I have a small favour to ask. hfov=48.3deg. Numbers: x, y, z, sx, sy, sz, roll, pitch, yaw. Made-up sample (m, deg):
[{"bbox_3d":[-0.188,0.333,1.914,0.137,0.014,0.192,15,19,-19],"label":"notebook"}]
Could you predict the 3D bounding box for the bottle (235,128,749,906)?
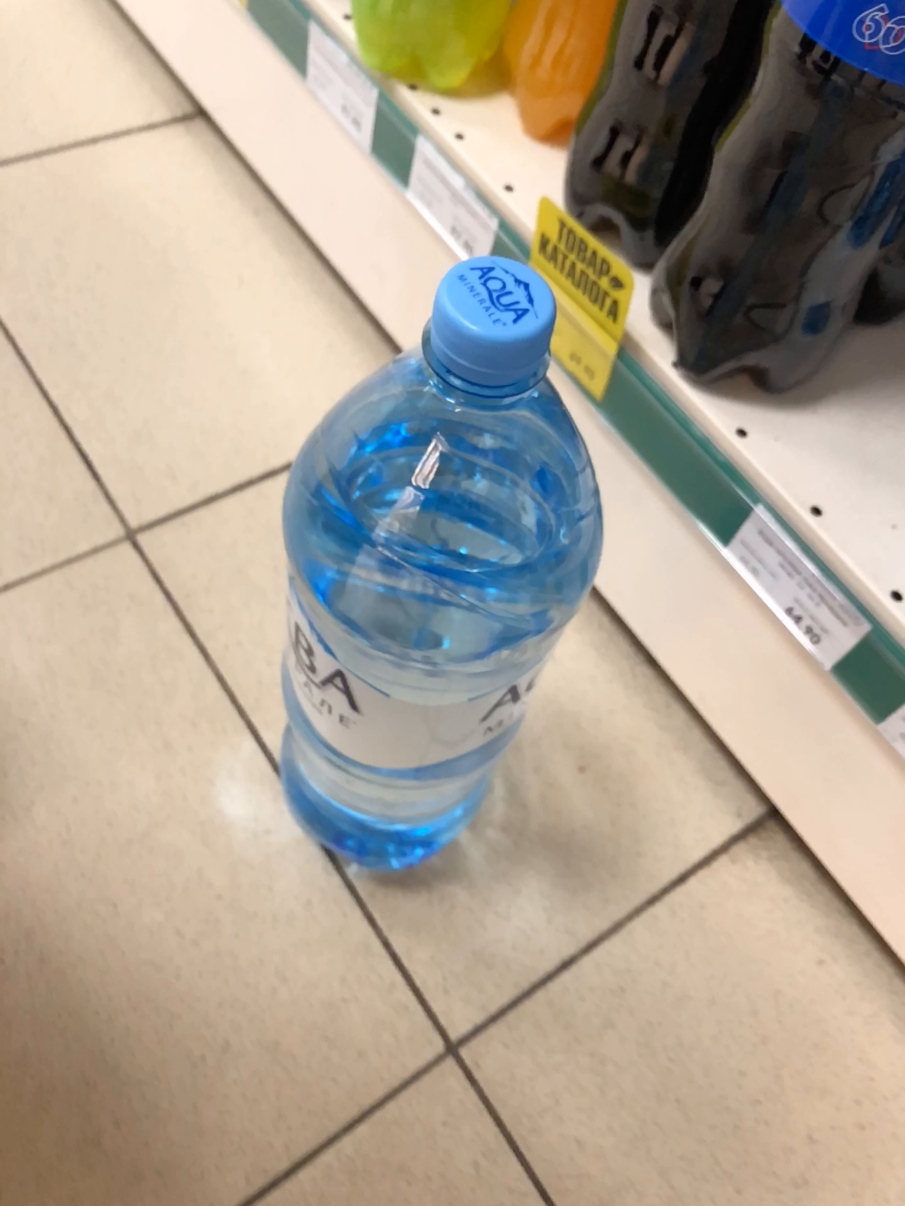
[{"bbox_3d":[-0.018,0.006,0.379,0.088,0.323,0.106,-18,64,-20],"label":"bottle"}]
